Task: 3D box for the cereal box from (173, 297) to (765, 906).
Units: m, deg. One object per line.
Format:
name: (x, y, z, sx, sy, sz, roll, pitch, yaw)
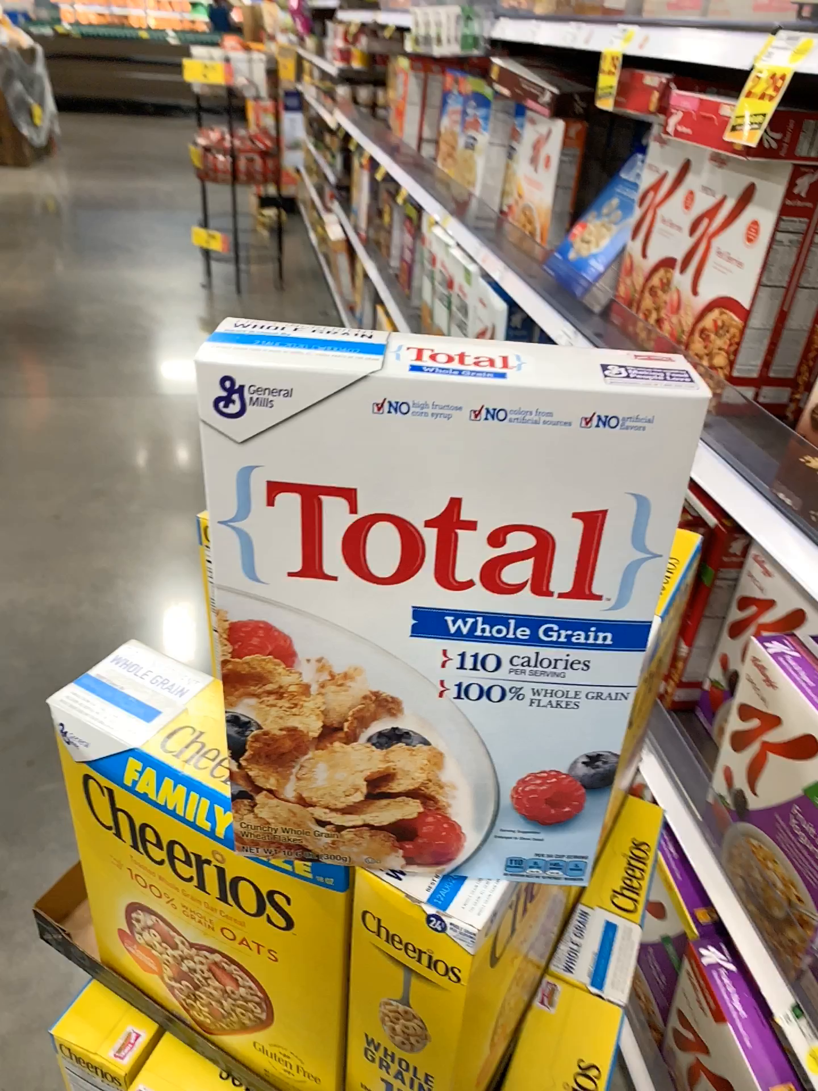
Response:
cereal box: (0.015, 0.046, 0.398, 0.210, 0.299, 0.050, 4, 32, 2)
